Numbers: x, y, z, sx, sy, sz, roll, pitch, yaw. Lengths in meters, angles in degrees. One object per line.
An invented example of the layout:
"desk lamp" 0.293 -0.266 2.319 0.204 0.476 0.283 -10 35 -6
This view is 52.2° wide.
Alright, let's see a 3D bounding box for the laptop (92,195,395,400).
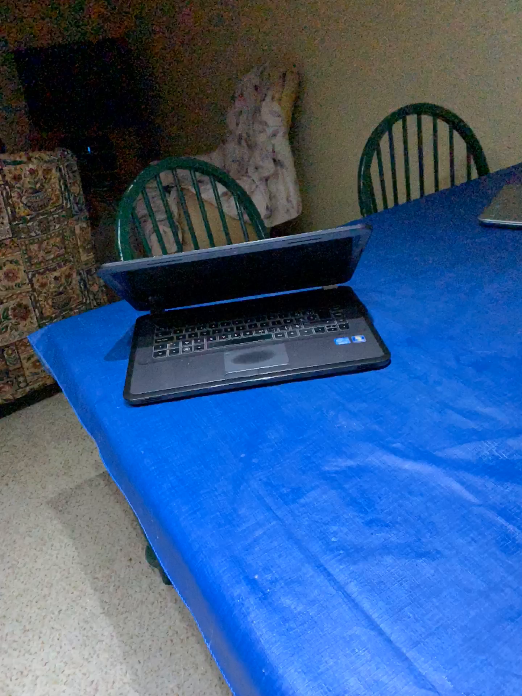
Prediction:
"laptop" -0.022 -0.087 0.775 0.361 0.160 0.245 -8 30 -2
